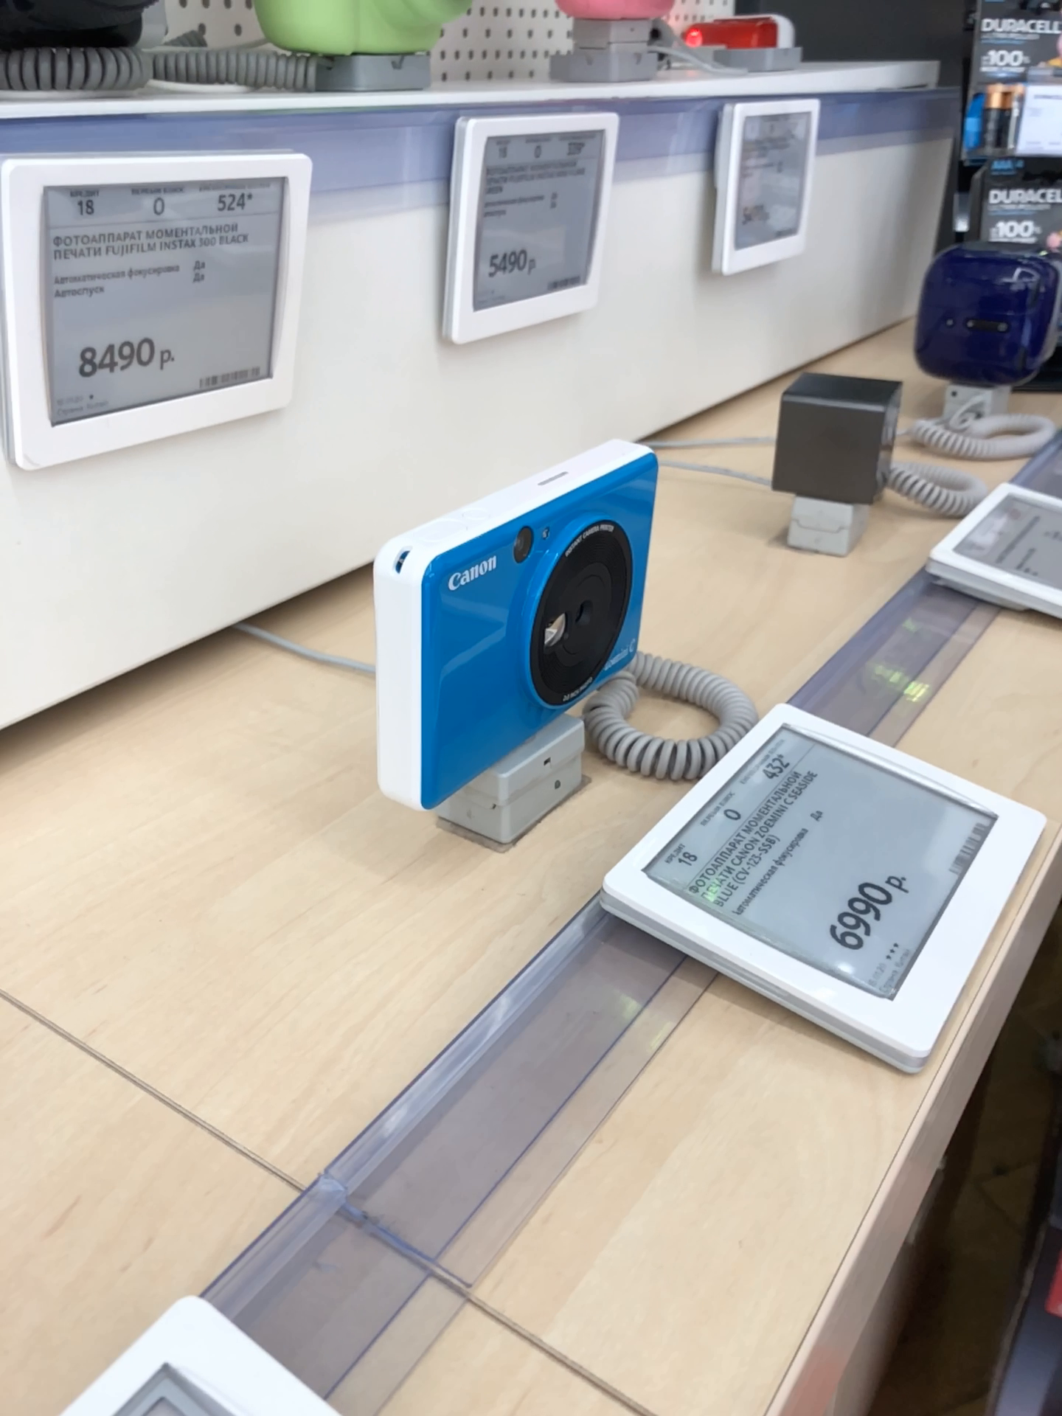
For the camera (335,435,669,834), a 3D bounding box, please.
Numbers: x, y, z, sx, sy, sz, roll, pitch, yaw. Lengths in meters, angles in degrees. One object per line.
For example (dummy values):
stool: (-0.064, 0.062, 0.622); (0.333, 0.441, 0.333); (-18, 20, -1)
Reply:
camera: (-0.005, -0.026, 0.338); (0.025, 0.072, 0.120); (22, 36, 28)
